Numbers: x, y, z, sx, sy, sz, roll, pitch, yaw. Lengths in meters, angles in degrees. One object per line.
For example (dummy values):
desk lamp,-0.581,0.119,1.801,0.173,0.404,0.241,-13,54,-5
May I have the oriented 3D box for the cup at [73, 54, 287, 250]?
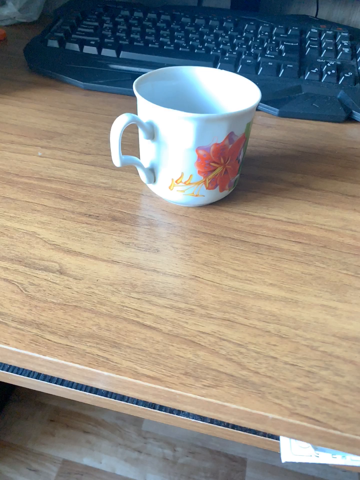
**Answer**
cup,0.001,-0.064,0.249,0.110,0.080,0.070,-29,51,-32
